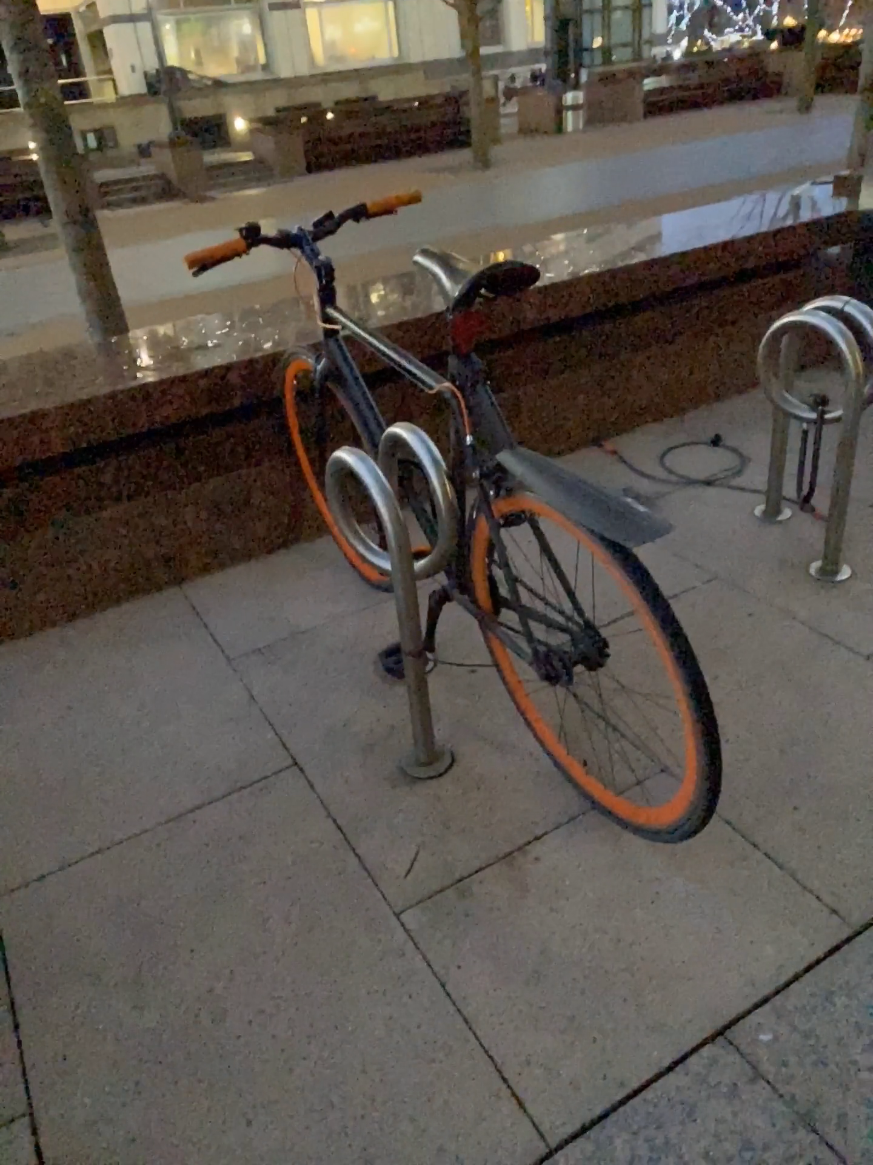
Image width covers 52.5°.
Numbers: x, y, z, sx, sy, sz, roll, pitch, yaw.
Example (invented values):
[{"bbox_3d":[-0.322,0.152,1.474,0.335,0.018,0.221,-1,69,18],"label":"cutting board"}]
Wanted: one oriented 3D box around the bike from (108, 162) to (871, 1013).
[{"bbox_3d":[-0.080,-0.218,1.794,0.525,0.981,1.646,-21,34,-22],"label":"bike"}]
